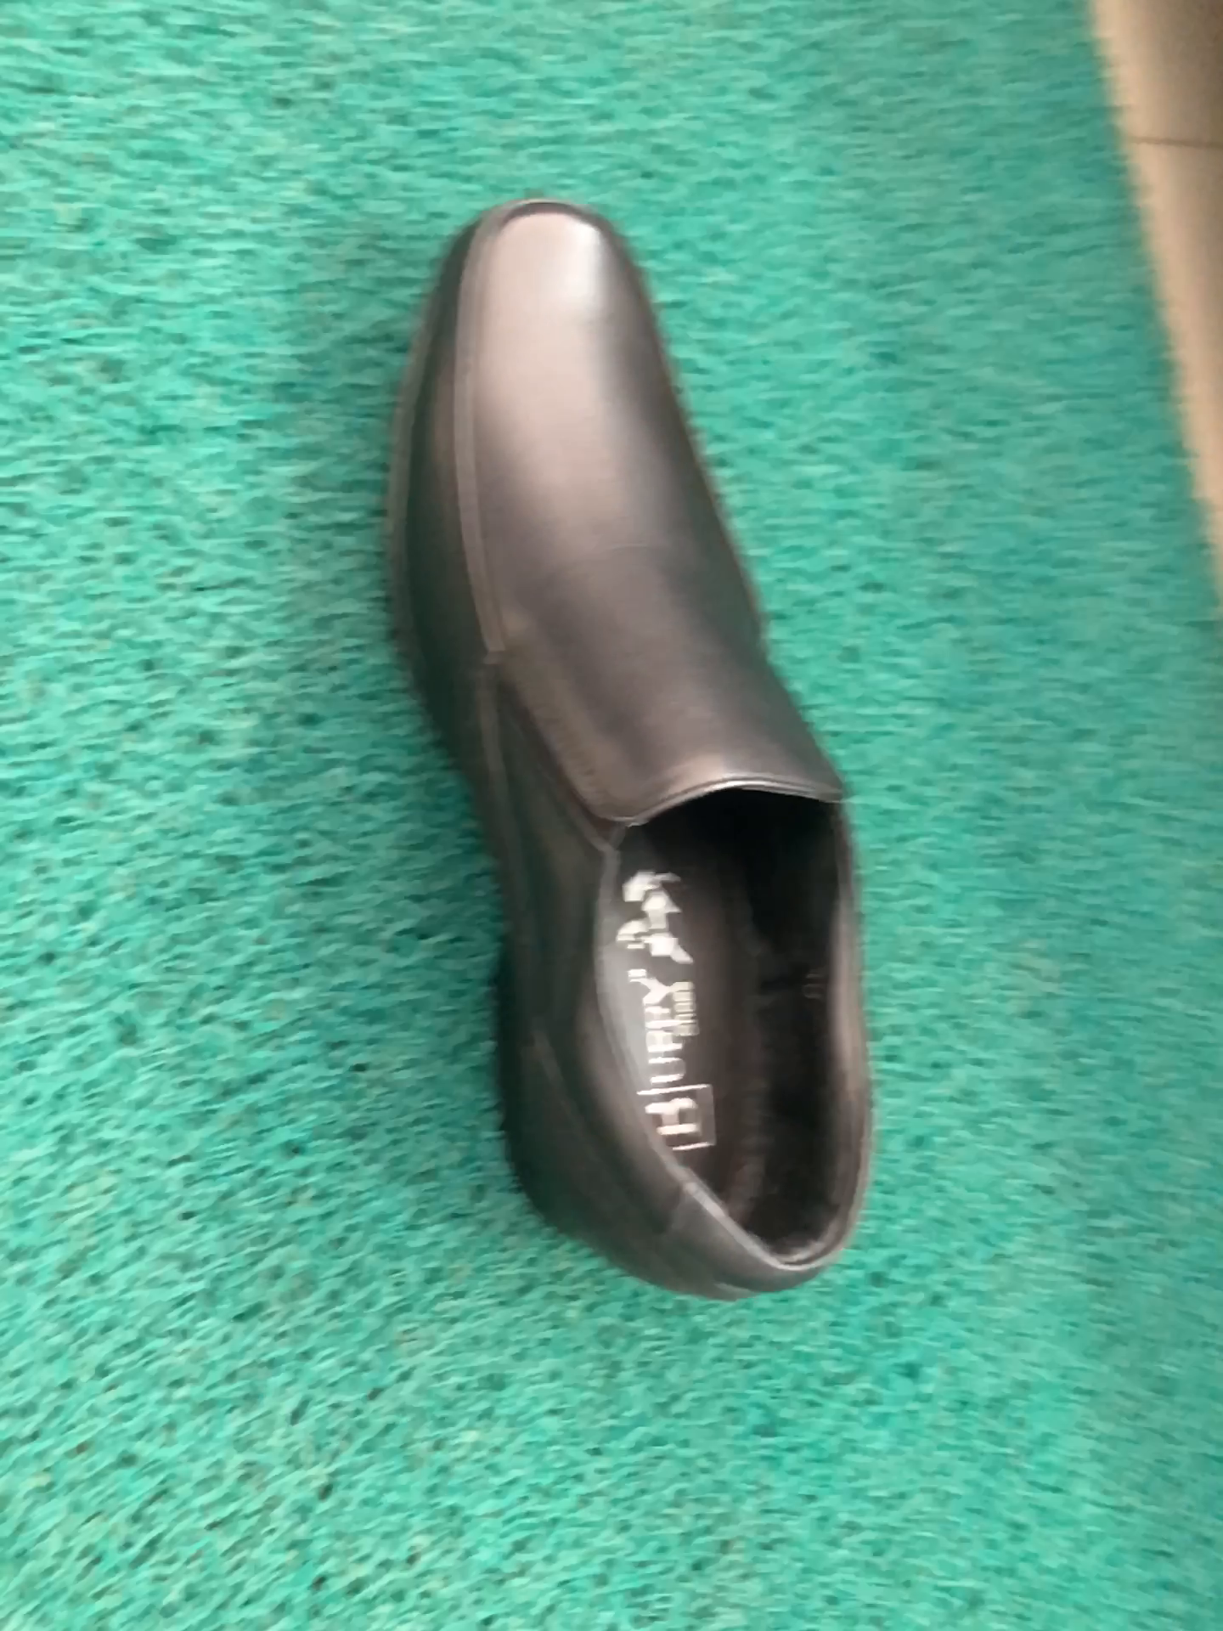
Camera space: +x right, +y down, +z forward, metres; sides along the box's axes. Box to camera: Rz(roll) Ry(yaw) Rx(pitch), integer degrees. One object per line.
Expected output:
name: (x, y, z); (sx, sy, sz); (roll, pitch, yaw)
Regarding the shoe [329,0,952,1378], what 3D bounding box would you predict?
shoe: (0.003, -0.032, 0.364); (0.101, 0.089, 0.310); (-5, 87, -31)
